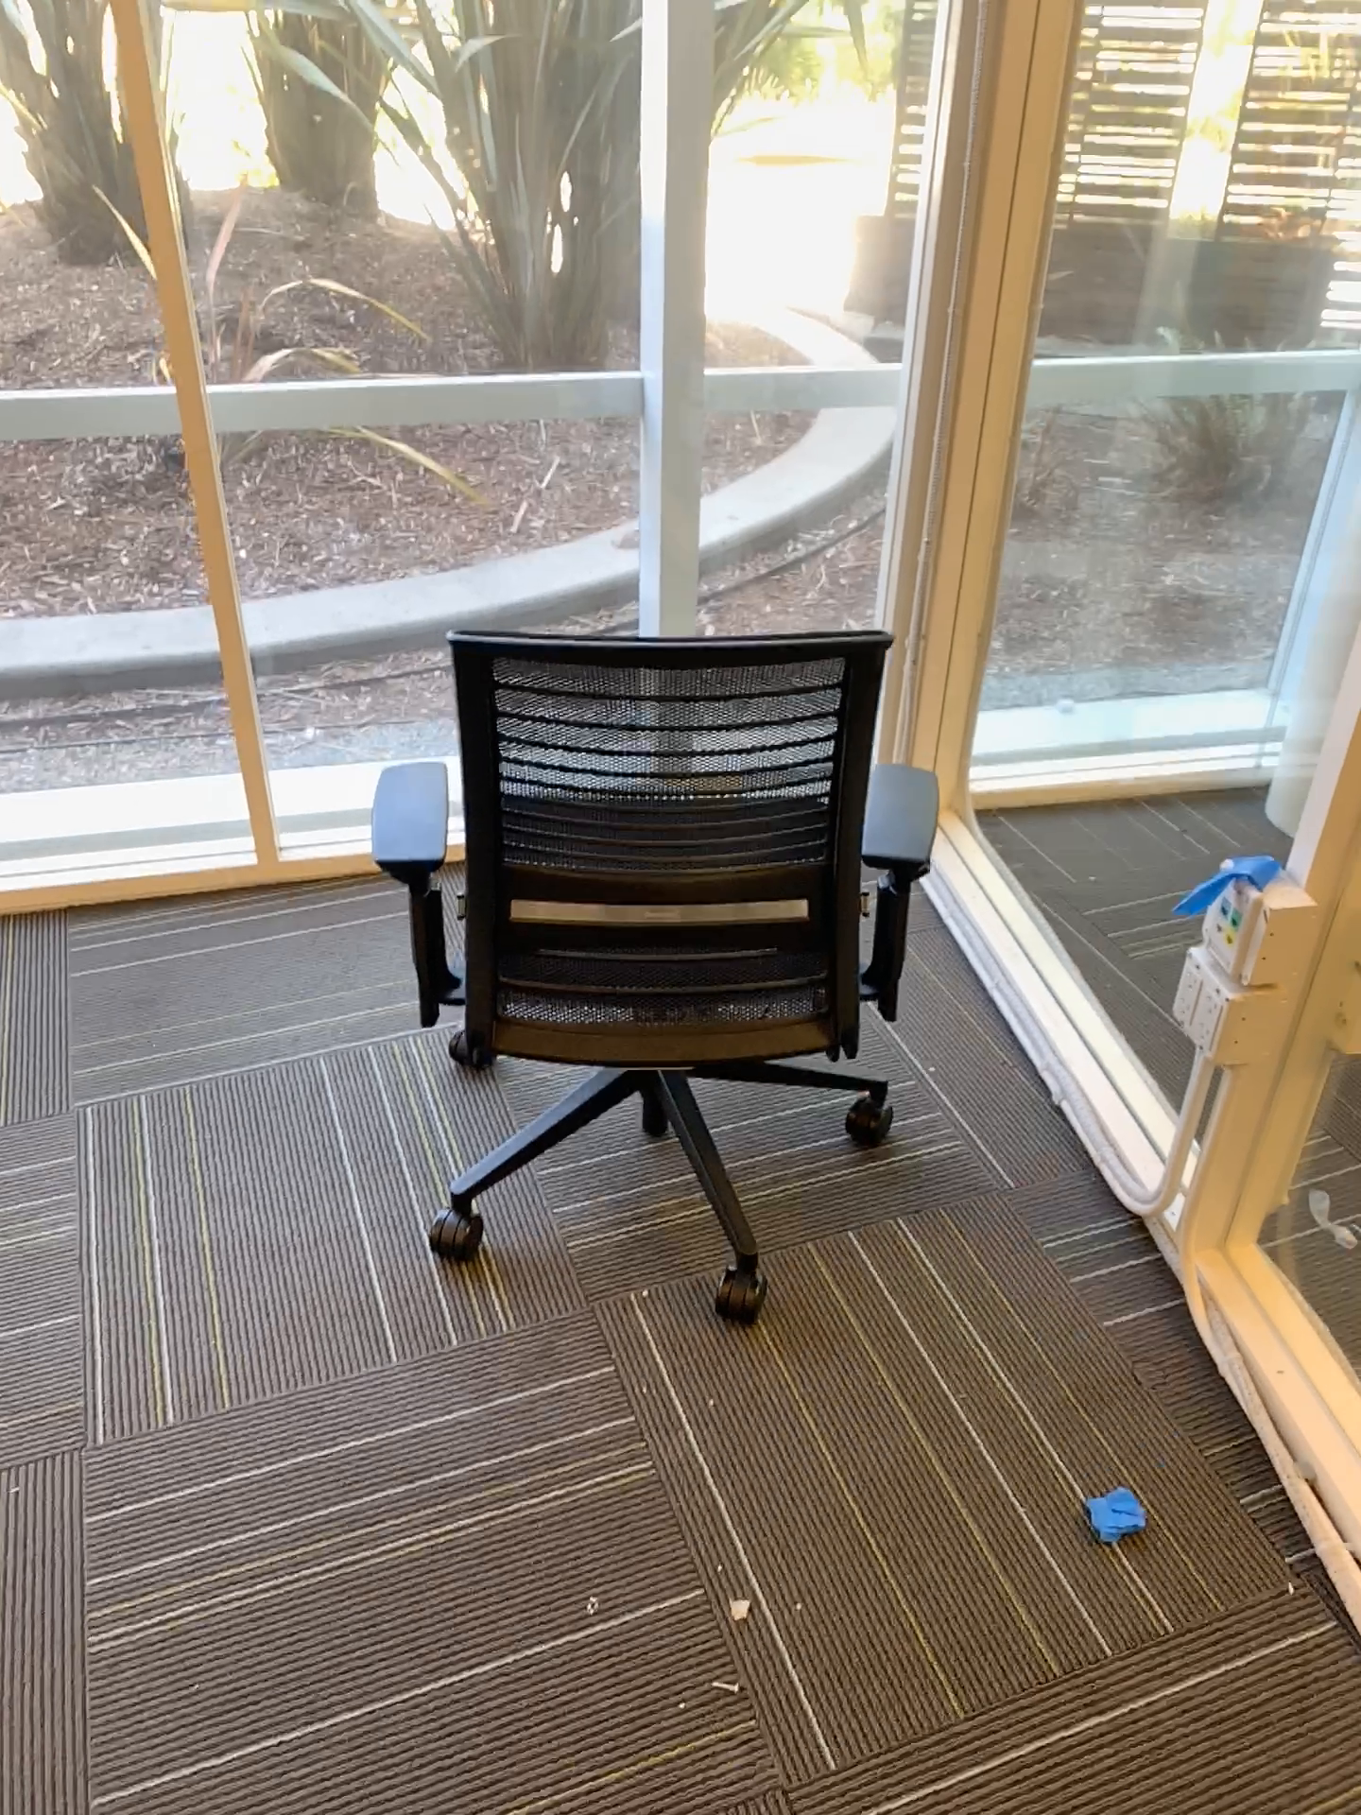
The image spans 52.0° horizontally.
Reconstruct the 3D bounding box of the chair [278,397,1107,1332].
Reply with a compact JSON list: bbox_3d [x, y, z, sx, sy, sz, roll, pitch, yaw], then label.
[{"bbox_3d":[-0.007,-0.070,1.728,0.700,0.894,0.735,0,34,-2],"label":"chair"}]
